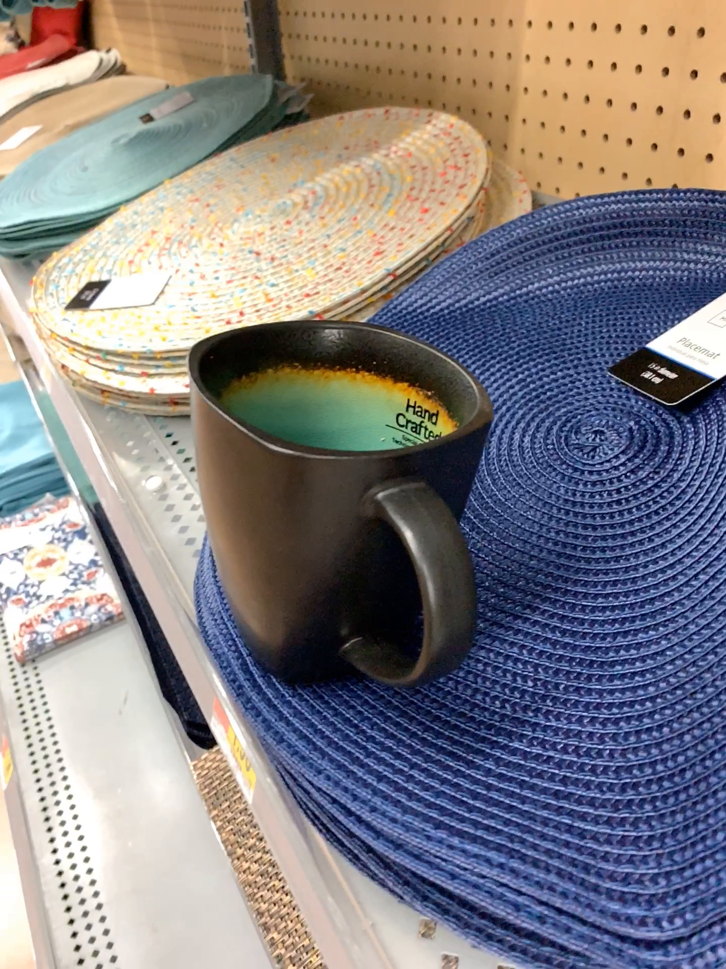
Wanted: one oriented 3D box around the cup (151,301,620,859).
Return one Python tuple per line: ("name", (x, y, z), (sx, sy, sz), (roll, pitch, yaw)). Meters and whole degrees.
("cup", (-0.006, 0.018, 0.249), (0.090, 0.109, 0.131), (-12, 35, -21))
